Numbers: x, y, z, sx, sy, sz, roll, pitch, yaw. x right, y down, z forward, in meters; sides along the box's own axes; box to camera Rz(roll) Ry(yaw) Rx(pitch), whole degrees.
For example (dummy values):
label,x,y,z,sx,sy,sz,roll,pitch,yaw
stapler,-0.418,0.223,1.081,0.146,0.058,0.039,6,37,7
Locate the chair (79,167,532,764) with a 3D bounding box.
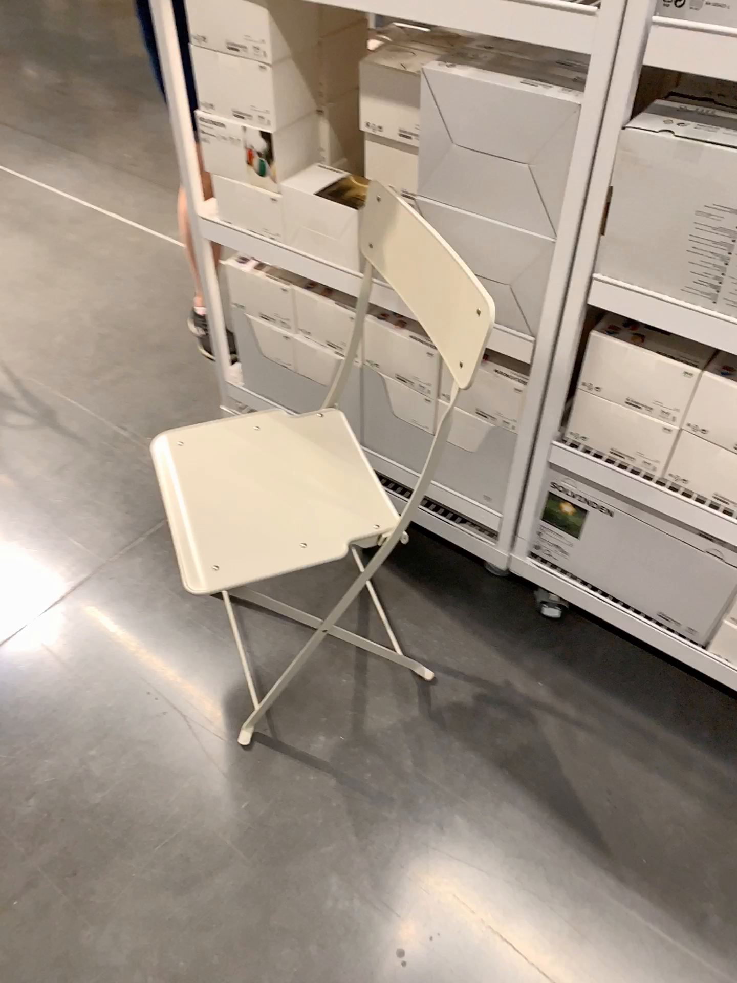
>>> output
label,x,y,z,sx,sy,sz,roll,pitch,yaw
chair,-0.108,-0.014,1.206,0.457,0.783,0.439,-14,46,-14
